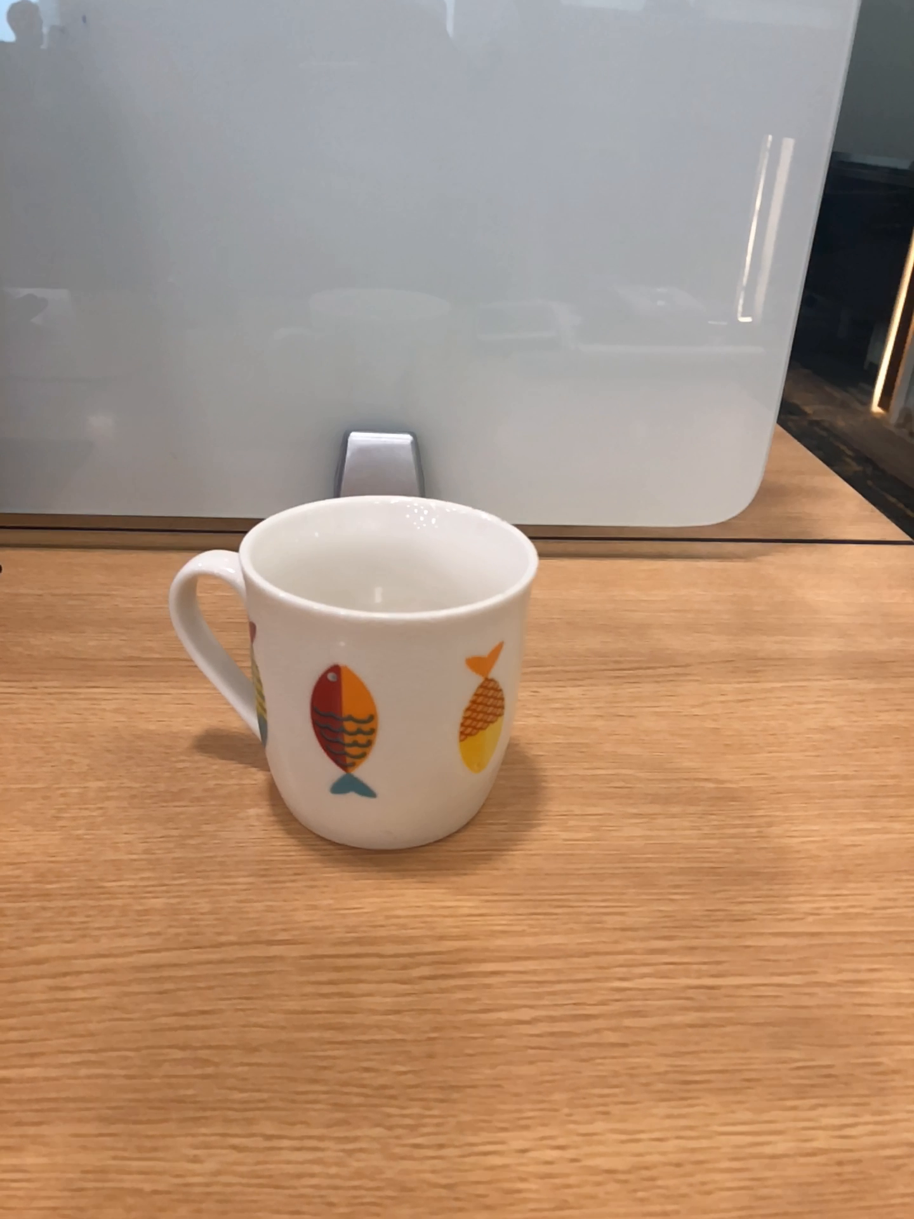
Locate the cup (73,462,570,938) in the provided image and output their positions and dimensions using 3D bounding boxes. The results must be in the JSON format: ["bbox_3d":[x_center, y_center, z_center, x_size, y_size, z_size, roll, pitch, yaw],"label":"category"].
[{"bbox_3d":[-0.033,0.020,0.290,0.110,0.090,0.080,9,27,11],"label":"cup"}]
